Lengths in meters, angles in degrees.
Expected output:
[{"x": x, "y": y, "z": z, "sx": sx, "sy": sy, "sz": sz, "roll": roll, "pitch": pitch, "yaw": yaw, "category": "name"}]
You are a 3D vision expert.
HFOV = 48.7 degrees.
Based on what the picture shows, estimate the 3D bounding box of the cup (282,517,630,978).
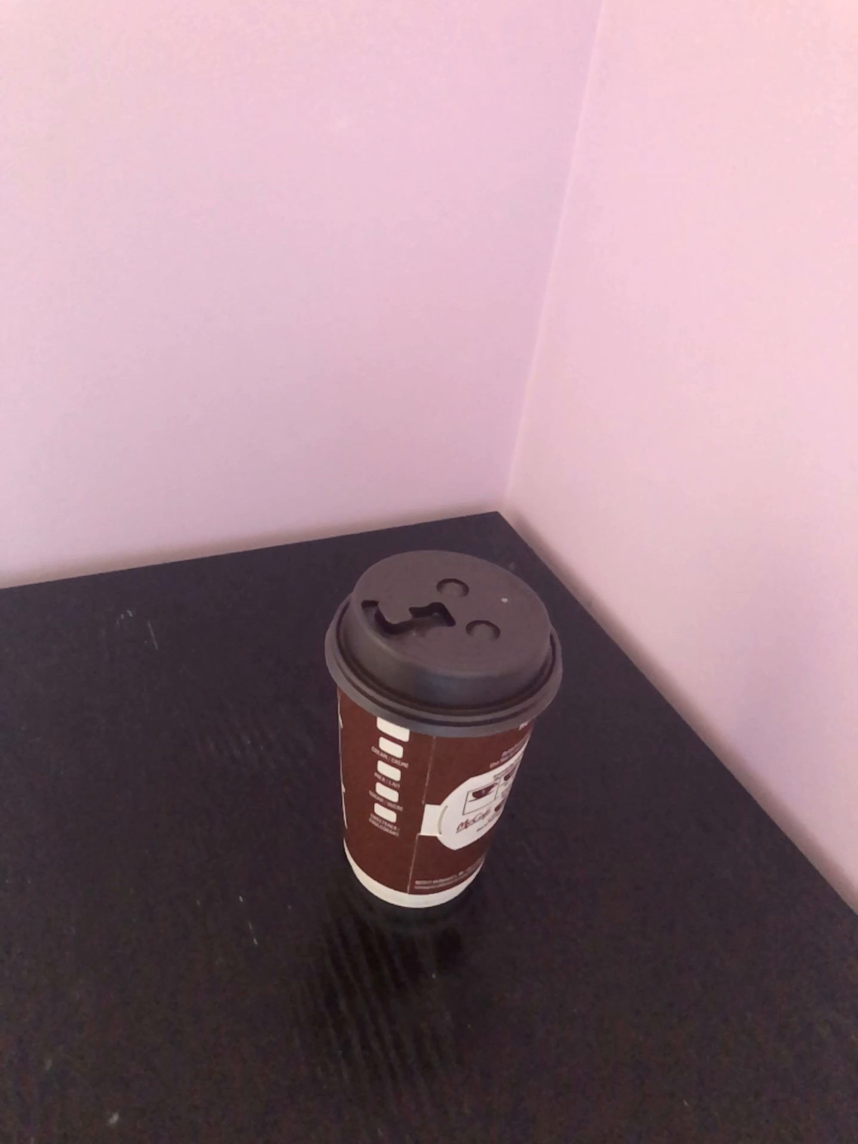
[{"x": 0.003, "y": 0.069, "z": 0.388, "sx": 0.090, "sy": 0.139, "sz": 0.090, "roll": 5, "pitch": 36, "yaw": -4, "category": "cup"}]
